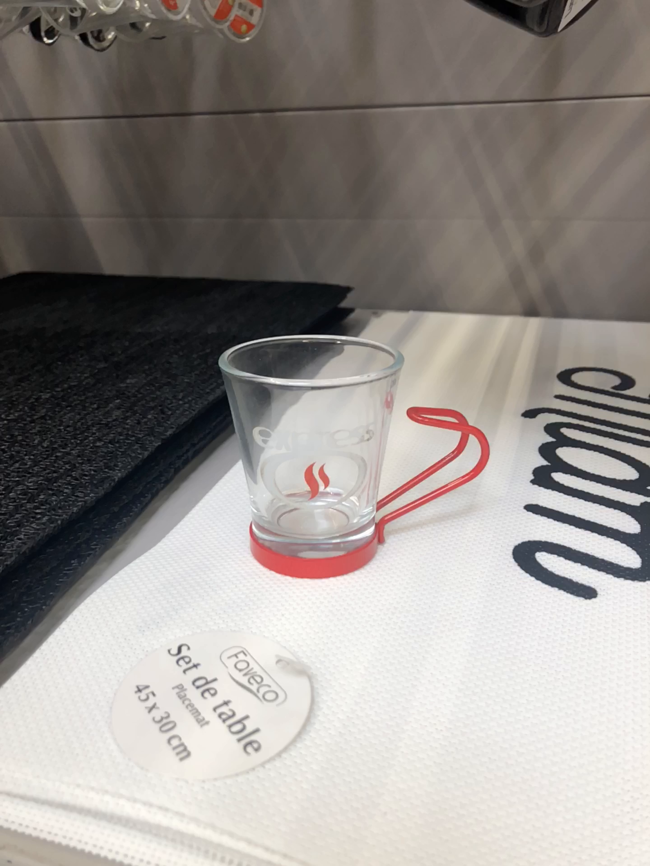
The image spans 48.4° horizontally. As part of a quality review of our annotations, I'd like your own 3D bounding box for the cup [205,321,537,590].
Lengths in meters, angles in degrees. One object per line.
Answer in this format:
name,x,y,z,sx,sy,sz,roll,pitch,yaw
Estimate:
cup,0.012,0.002,0.242,0.092,0.063,0.056,-7,20,-16
